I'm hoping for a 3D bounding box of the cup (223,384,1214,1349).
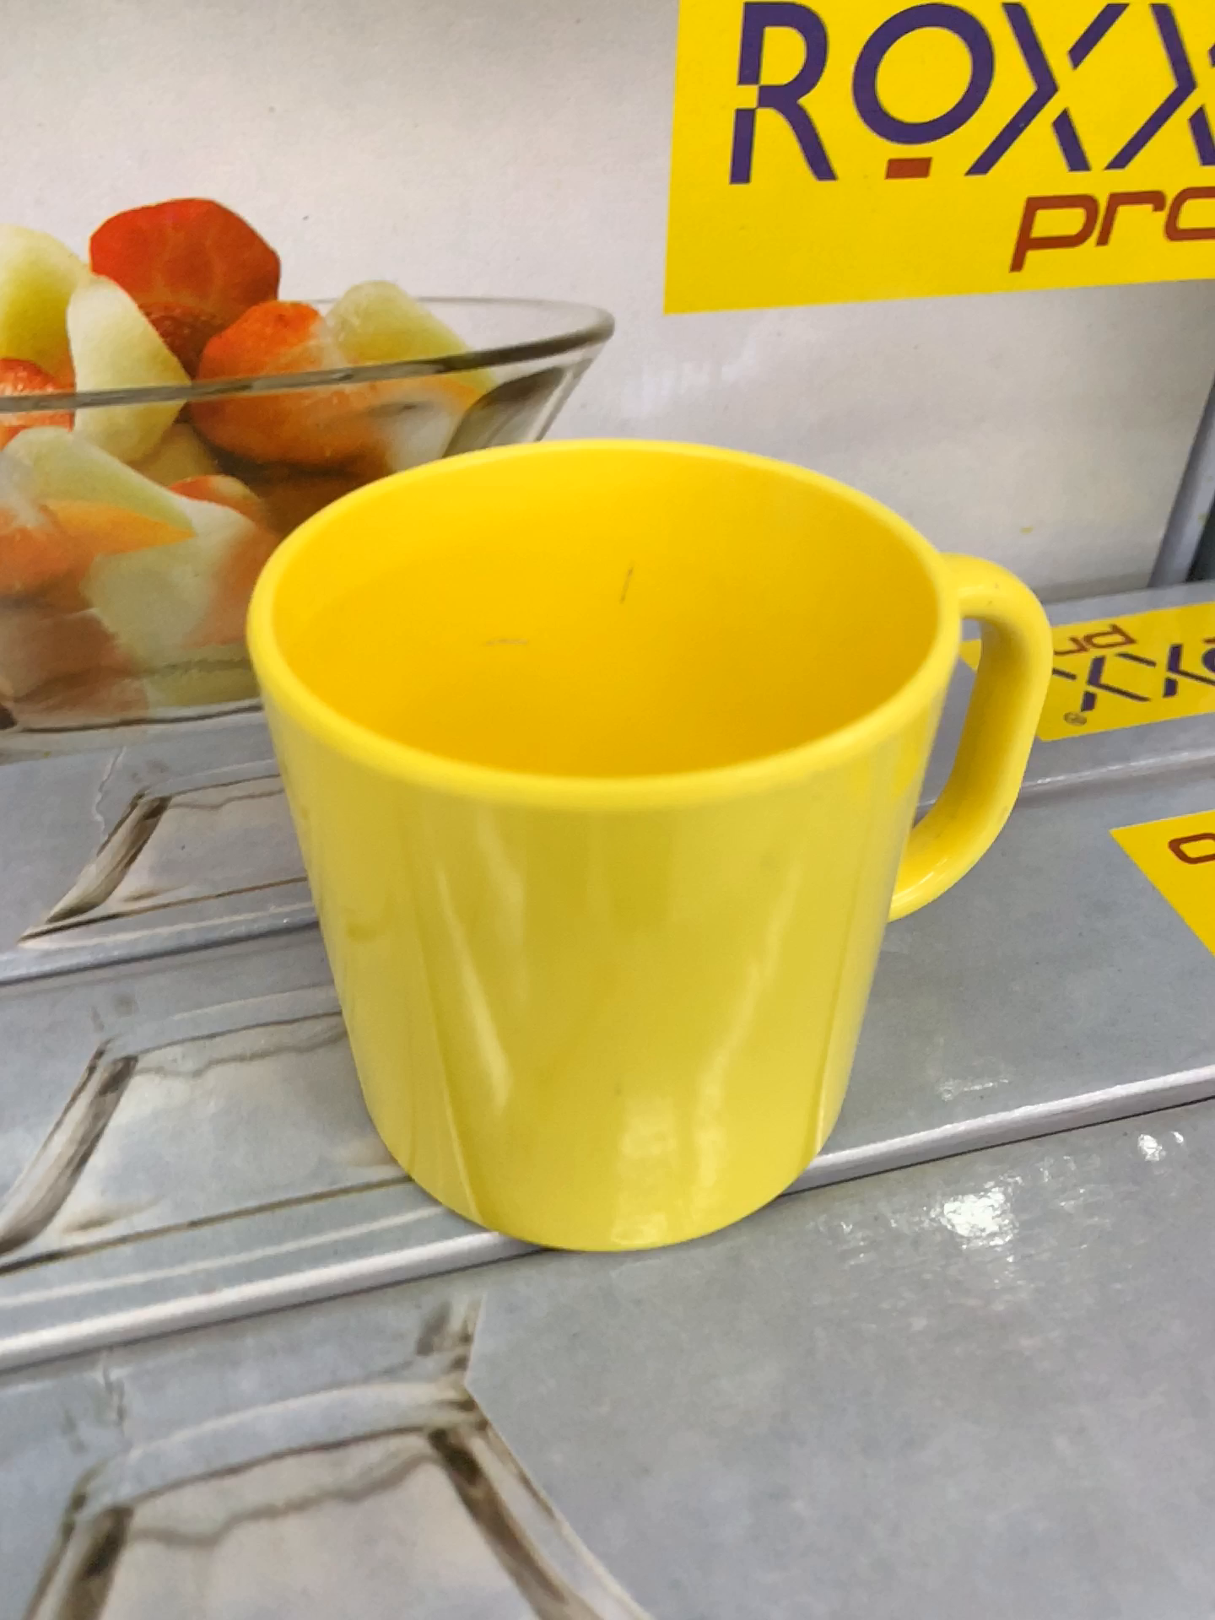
[{"bbox_3d":[0.012,-0.001,0.152,0.096,0.069,0.072,-10,39,-16],"label":"cup"}]
